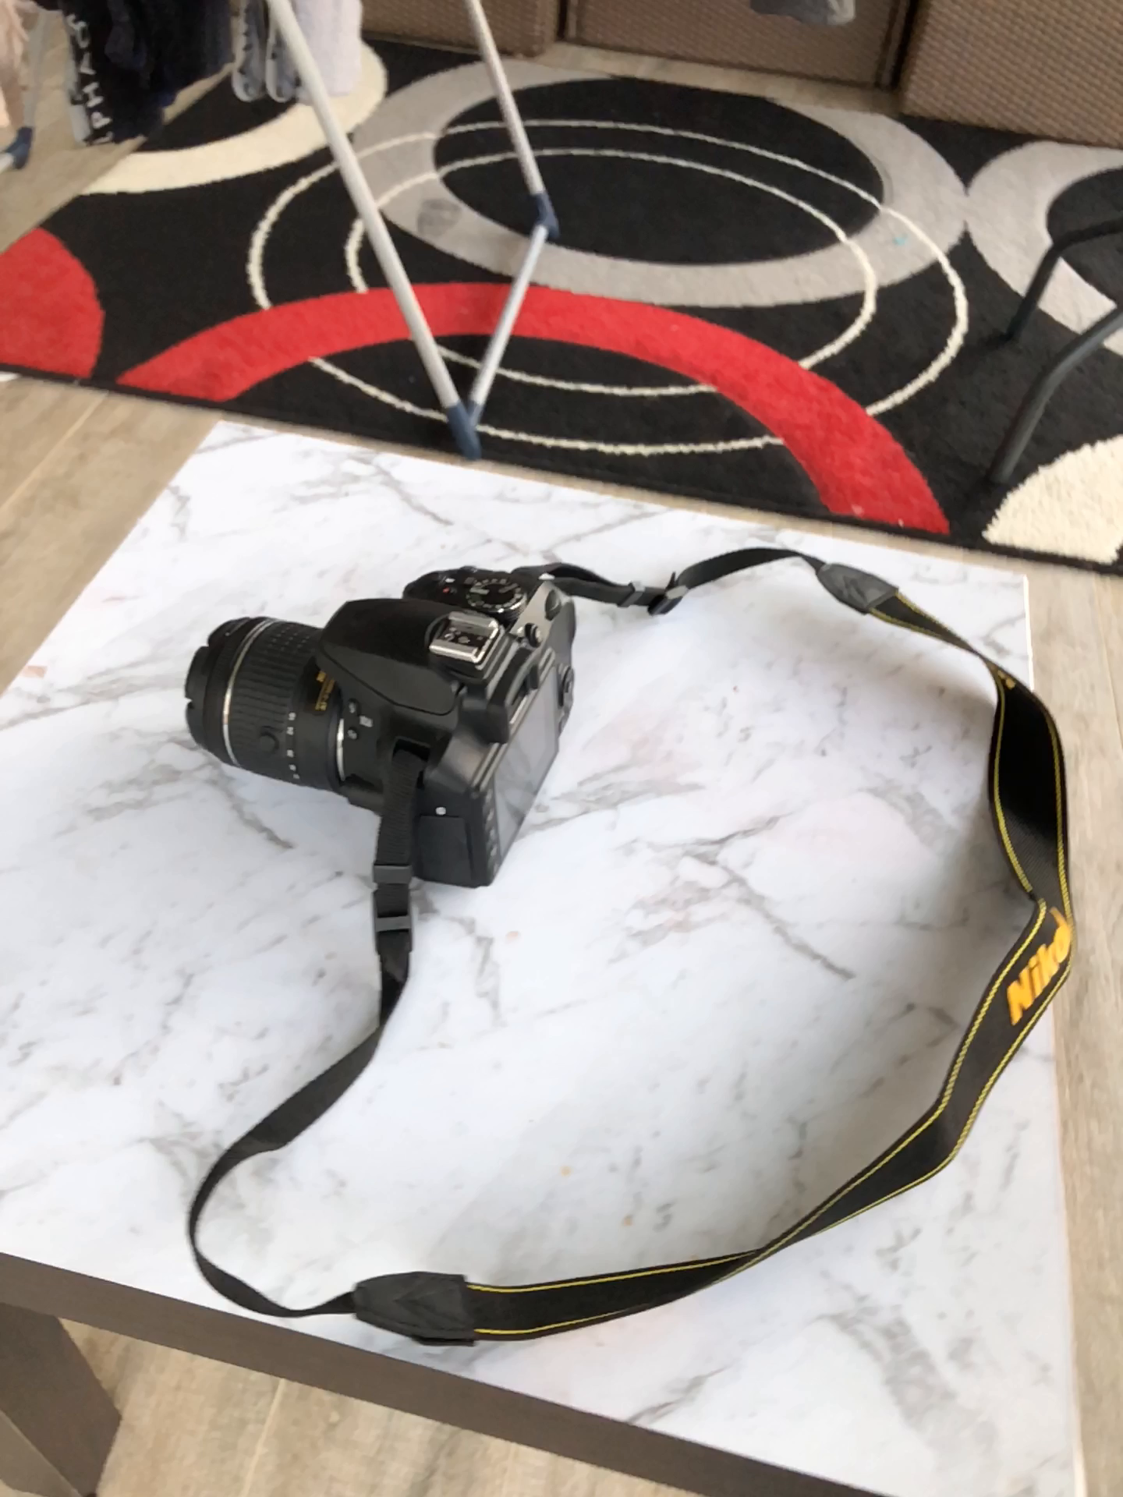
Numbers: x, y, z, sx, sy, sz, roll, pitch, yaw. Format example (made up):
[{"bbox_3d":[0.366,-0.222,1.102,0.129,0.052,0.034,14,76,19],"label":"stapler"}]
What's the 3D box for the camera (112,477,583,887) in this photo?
[{"bbox_3d":[-0.076,-0.031,0.493,0.138,0.076,0.122,13,46,12],"label":"camera"}]
